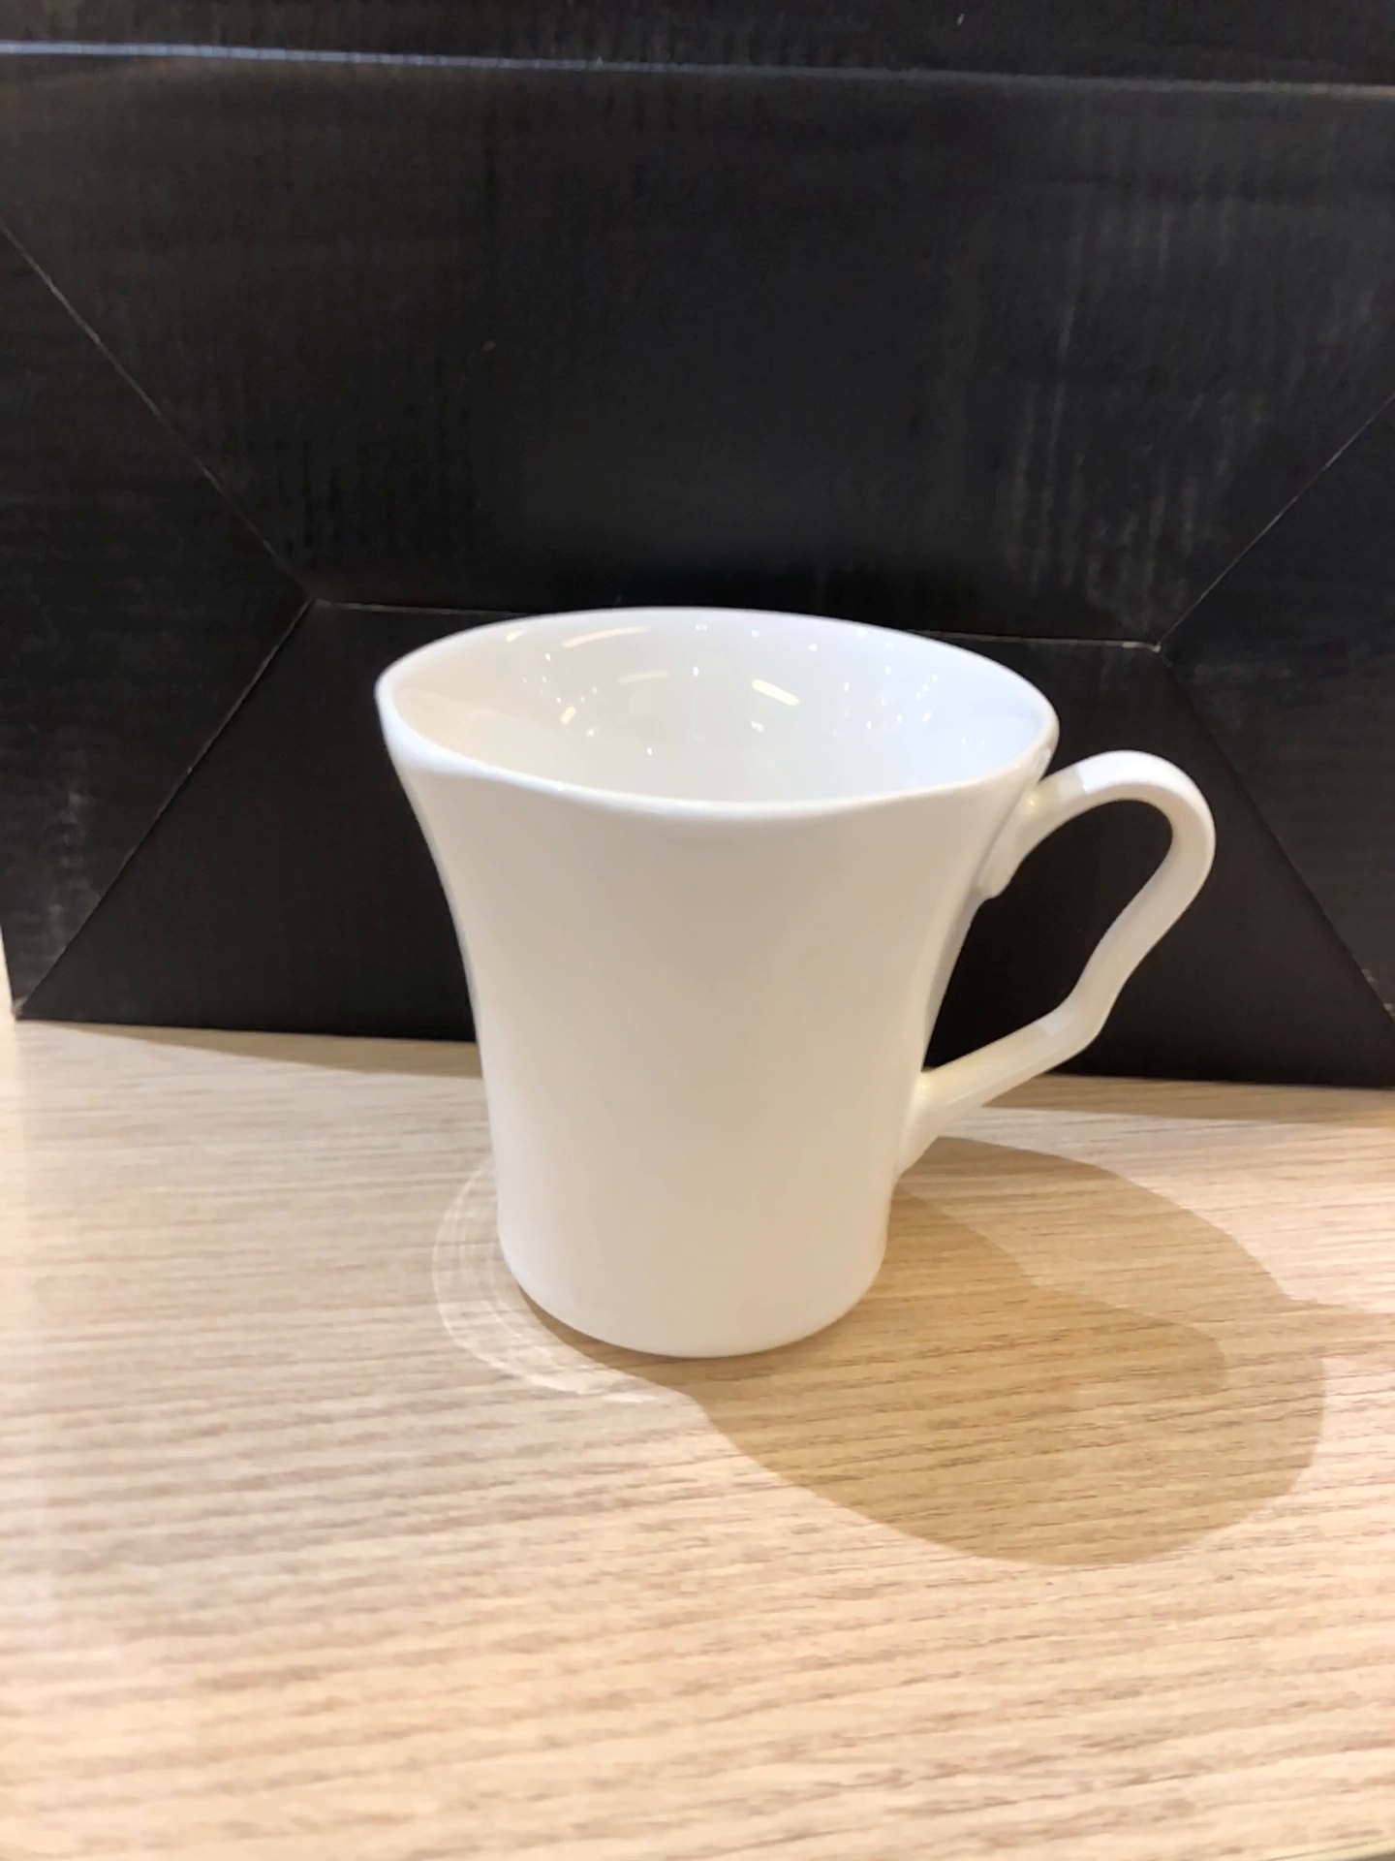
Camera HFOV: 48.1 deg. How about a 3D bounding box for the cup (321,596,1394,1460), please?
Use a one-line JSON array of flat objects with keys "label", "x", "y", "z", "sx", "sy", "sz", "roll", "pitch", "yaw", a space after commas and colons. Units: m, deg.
[{"label": "cup", "x": 0.017, "y": 0.008, "z": 0.202, "sx": 0.110, "sy": 0.079, "sz": 0.081, "roll": 1, "pitch": 25, "yaw": -2}]
